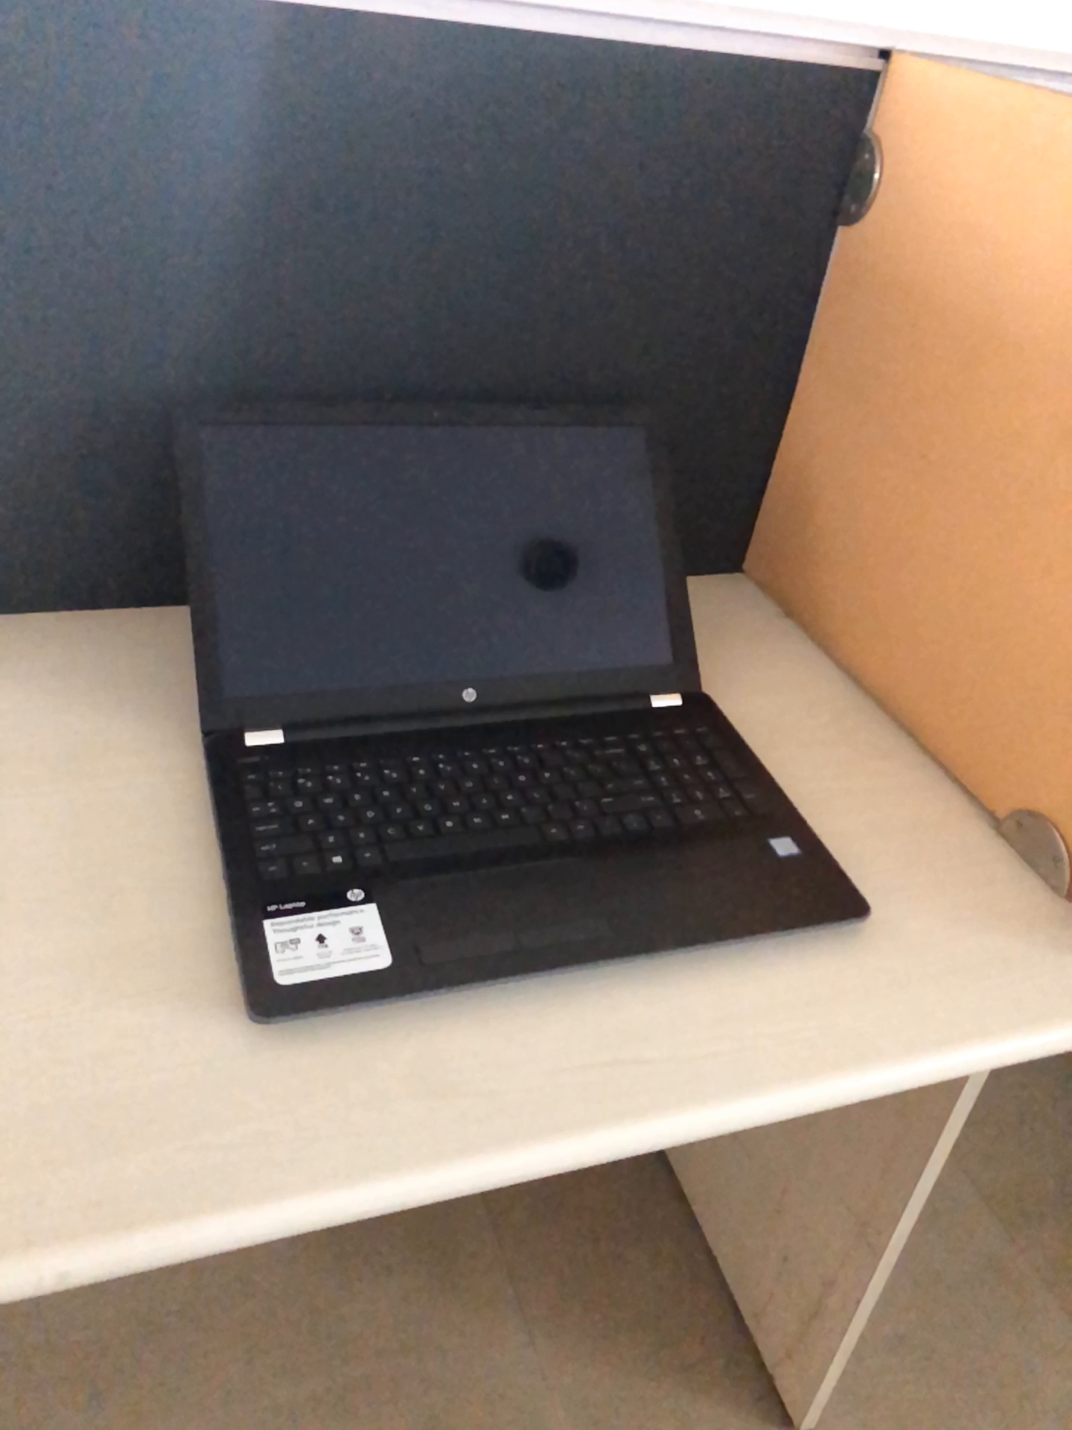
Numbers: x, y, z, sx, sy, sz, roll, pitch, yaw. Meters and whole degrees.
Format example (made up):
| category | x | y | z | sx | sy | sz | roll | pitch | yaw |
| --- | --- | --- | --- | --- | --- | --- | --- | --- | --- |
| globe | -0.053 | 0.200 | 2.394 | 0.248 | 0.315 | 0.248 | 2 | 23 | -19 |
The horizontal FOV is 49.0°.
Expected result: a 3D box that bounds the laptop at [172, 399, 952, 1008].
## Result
| category | x | y | z | sx | sy | sz | roll | pitch | yaw |
| --- | --- | --- | --- | --- | --- | --- | --- | --- | --- |
| laptop | -0.024 | -0.050 | 0.784 | 0.378 | 0.173 | 0.410 | -5 | 36 | -20 |
